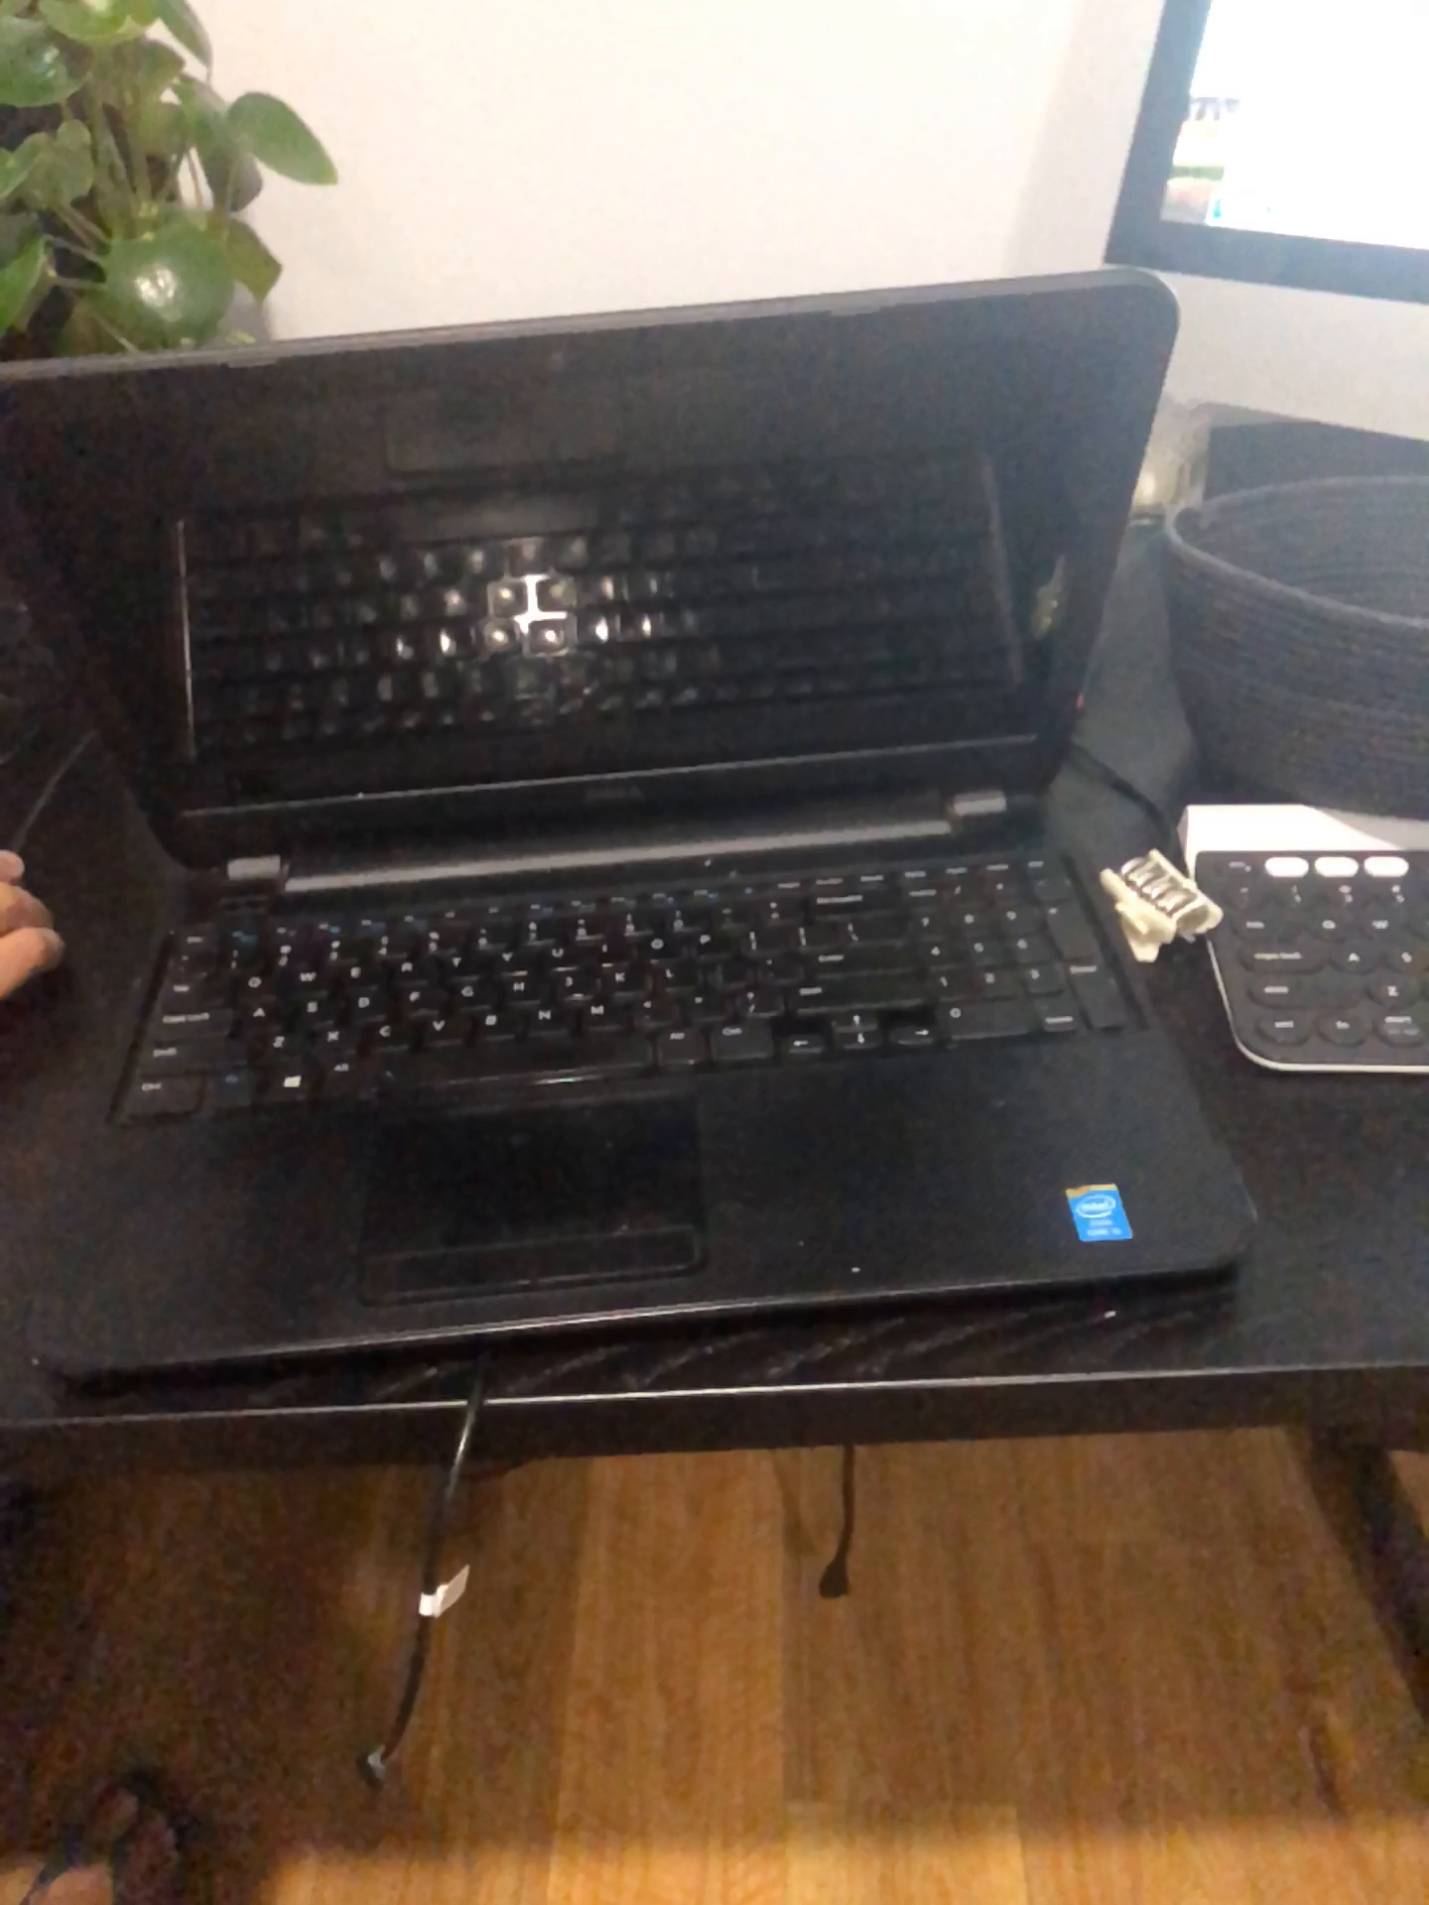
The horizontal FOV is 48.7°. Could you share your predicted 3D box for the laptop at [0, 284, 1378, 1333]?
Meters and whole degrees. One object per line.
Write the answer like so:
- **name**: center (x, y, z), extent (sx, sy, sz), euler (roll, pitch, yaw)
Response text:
- **laptop**: center (-0.043, -0.050, 0.487), extent (0.366, 0.210, 0.207), euler (-4, 38, 0)
